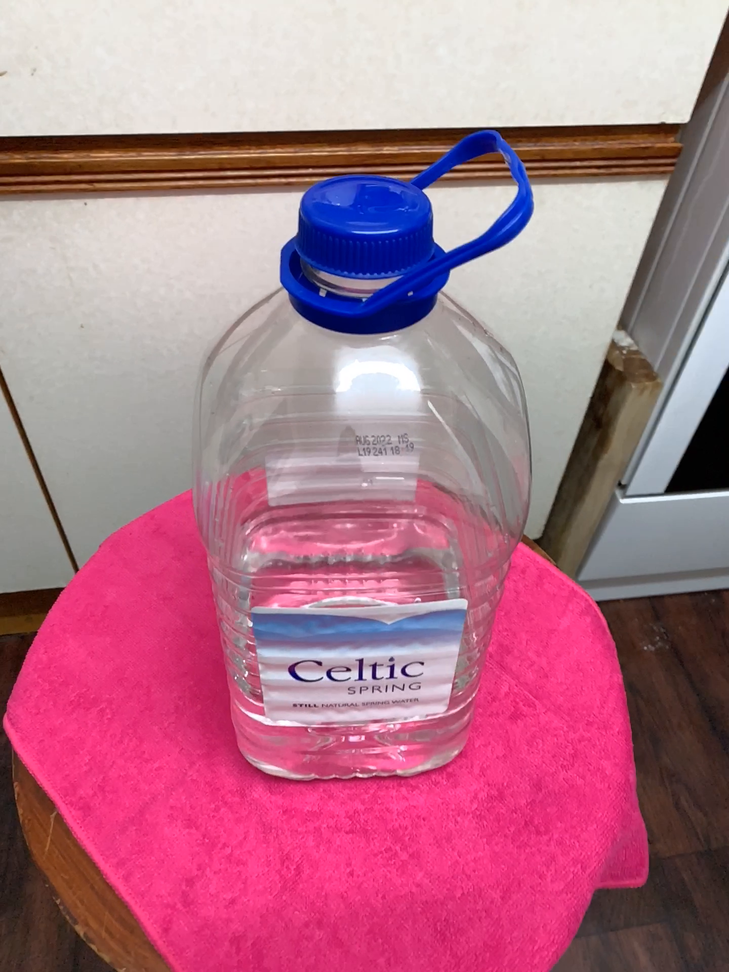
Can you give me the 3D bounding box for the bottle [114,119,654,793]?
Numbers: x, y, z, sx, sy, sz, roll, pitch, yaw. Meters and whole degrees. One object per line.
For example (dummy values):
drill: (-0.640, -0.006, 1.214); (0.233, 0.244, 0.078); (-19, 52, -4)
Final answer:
bottle: (-0.005, 0.016, 0.375); (0.150, 0.327, 0.141); (2, 47, -2)
